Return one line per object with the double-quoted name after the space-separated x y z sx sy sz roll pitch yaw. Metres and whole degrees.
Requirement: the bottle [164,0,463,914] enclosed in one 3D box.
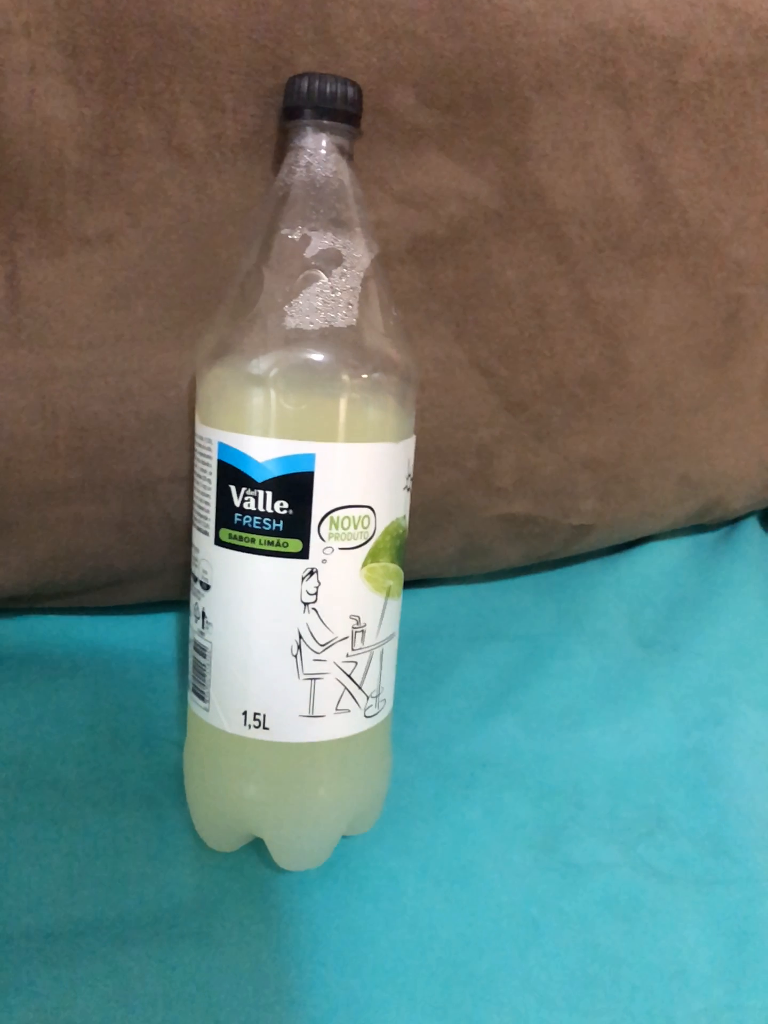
-0.034 -0.024 0.362 0.100 0.330 0.100 0 3 0 "bottle"
